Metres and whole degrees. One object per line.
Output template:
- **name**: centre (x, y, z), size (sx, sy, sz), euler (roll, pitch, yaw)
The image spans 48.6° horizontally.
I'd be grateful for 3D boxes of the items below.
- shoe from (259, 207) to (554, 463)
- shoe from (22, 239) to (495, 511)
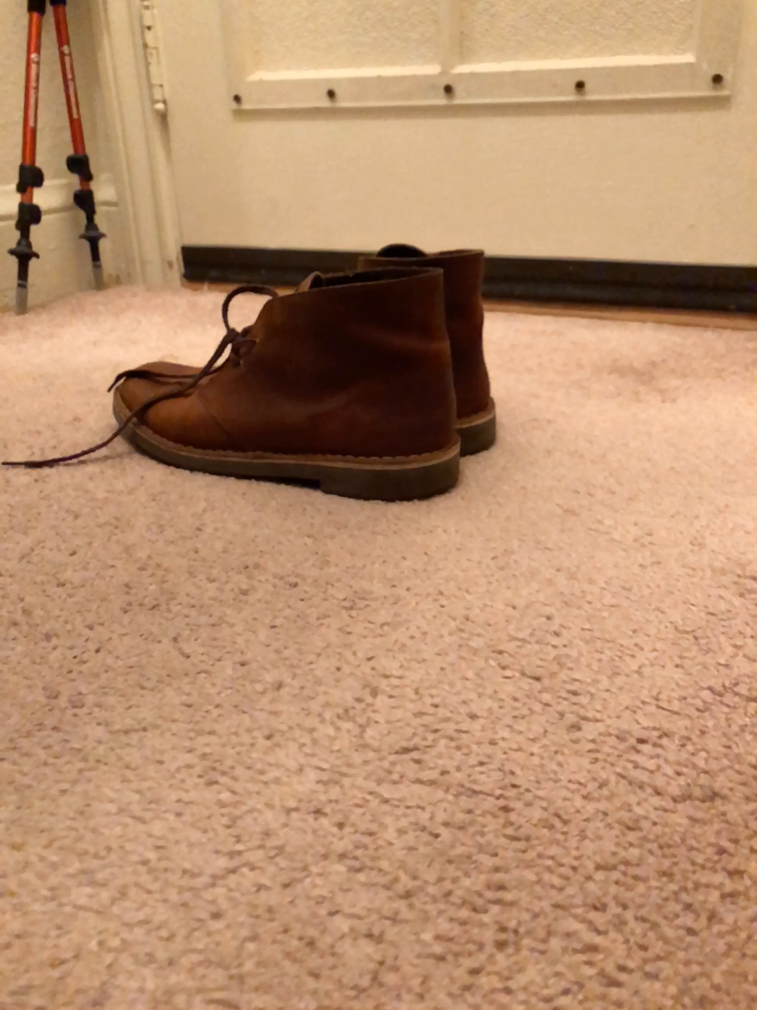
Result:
- **shoe**: centre (0.006, -0.161, 0.708), size (0.110, 0.138, 0.304), euler (-13, 28, -23)
- **shoe**: centre (-0.082, -0.104, 0.594), size (0.303, 0.138, 0.111), euler (9, 27, 21)
